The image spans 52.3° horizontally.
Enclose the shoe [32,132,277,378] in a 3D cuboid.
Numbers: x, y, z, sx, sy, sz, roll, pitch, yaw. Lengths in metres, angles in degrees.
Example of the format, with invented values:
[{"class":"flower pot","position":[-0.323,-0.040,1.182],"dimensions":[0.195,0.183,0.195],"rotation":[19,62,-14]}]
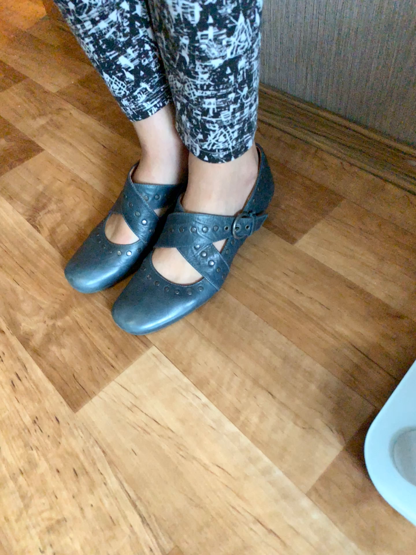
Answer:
[{"class":"shoe","position":[-0.038,-0.033,0.450],"dimensions":[0.090,0.100,0.250],"rotation":[32,63,27]}]

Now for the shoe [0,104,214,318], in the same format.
[{"class":"shoe","position":[-0.114,-0.083,0.483],"dimensions":[0.240,0.100,0.090],"rotation":[-40,58,-21]}]
